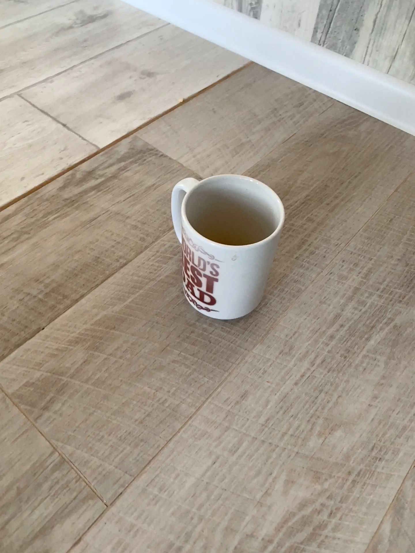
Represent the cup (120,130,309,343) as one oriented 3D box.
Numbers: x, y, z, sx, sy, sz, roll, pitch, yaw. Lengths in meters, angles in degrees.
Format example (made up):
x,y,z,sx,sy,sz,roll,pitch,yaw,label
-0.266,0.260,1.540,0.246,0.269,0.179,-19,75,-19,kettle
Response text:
x,y,z,sx,sy,sz,roll,pitch,yaw,label
0.000,-0.035,0.374,0.080,0.110,0.130,-34,62,-25,cup
